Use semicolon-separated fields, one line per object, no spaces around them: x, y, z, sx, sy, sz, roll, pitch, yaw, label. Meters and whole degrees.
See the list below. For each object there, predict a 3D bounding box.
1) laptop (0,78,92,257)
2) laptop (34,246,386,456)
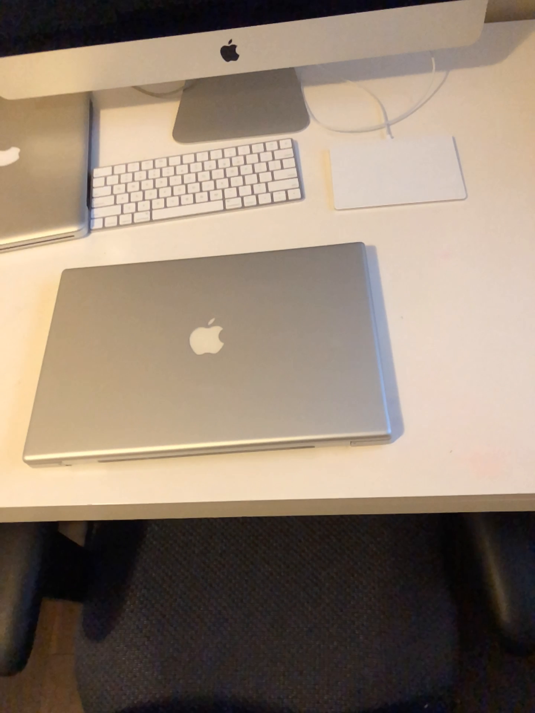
-0.349;-0.267;0.793;0.200;0.009;0.279;-8;60;-1;laptop
-0.057;-0.013;0.603;0.332;0.005;0.215;-4;60;5;laptop
